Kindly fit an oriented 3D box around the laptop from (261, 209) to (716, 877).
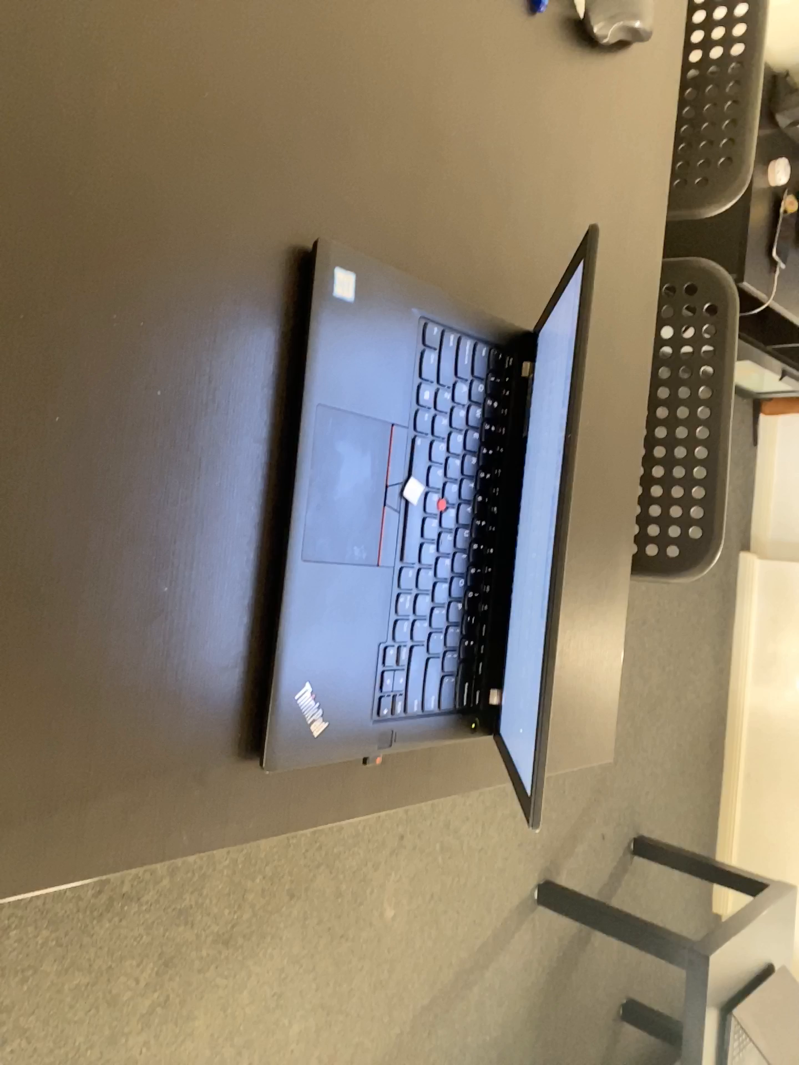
[{"bbox_3d":[0.061,0.008,0.489,0.217,0.138,0.299,5,90,-46],"label":"laptop"}]
